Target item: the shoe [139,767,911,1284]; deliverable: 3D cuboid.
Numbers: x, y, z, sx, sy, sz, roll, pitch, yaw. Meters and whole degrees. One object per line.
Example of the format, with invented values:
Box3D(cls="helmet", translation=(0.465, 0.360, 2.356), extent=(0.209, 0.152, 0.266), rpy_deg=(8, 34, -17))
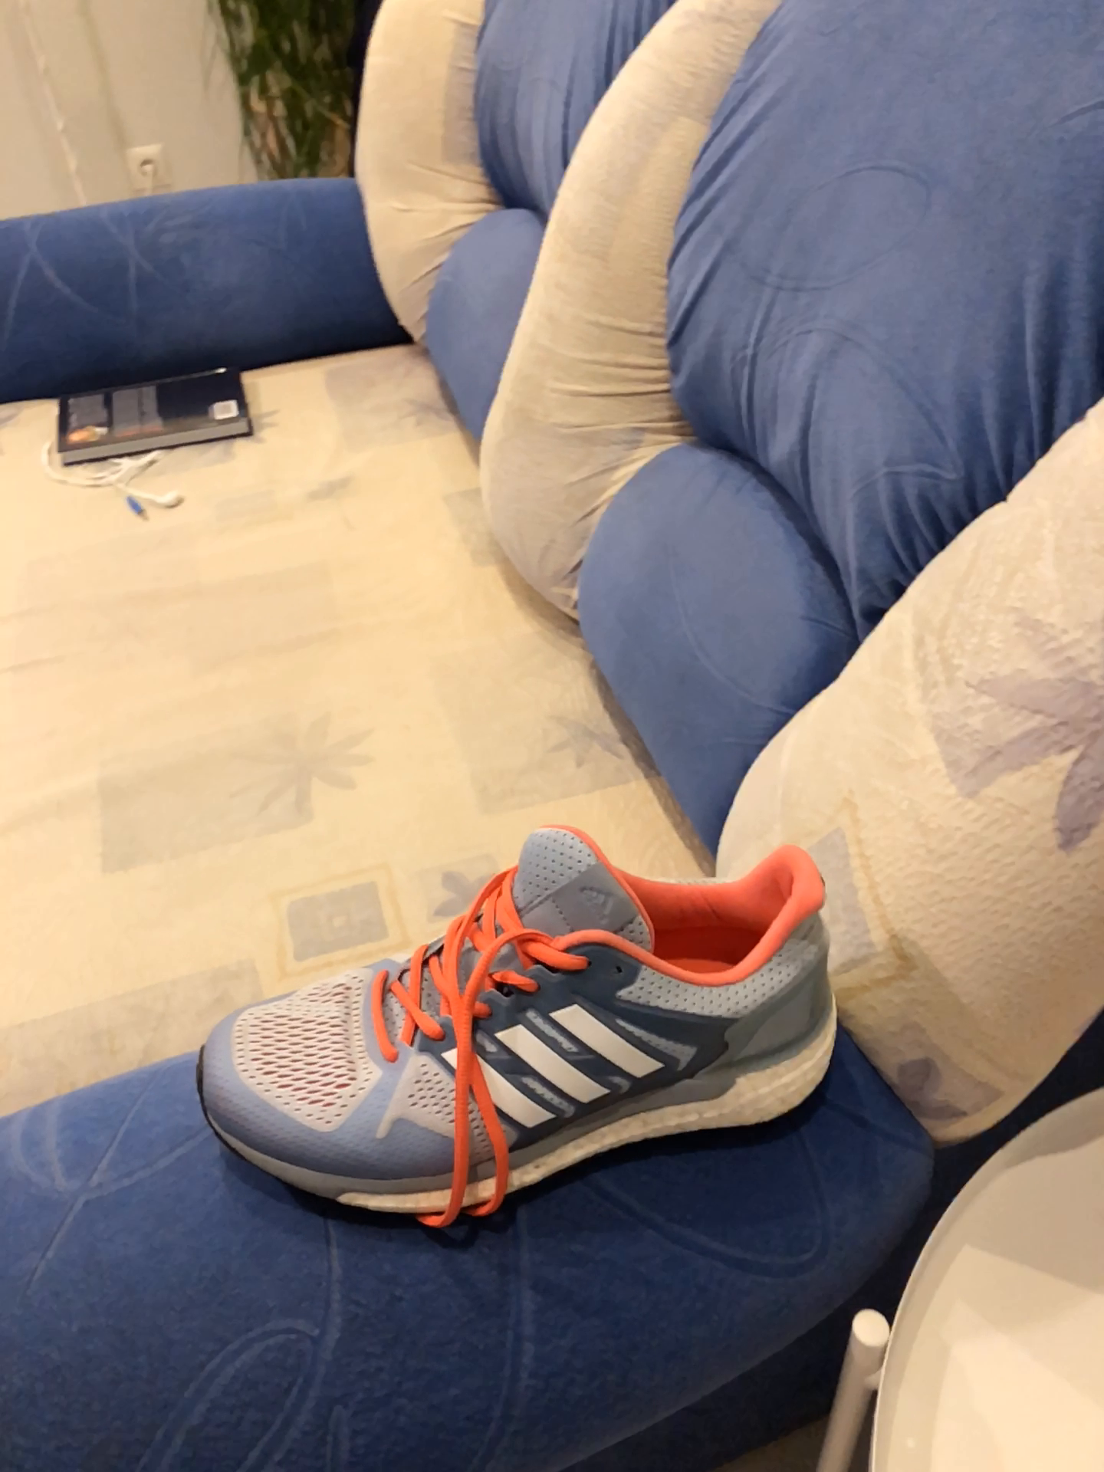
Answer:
Box3D(cls="shoe", translation=(-0.012, 0.113, 0.492), extent=(0.270, 0.109, 0.108), rpy_deg=(-10, 41, -7))
